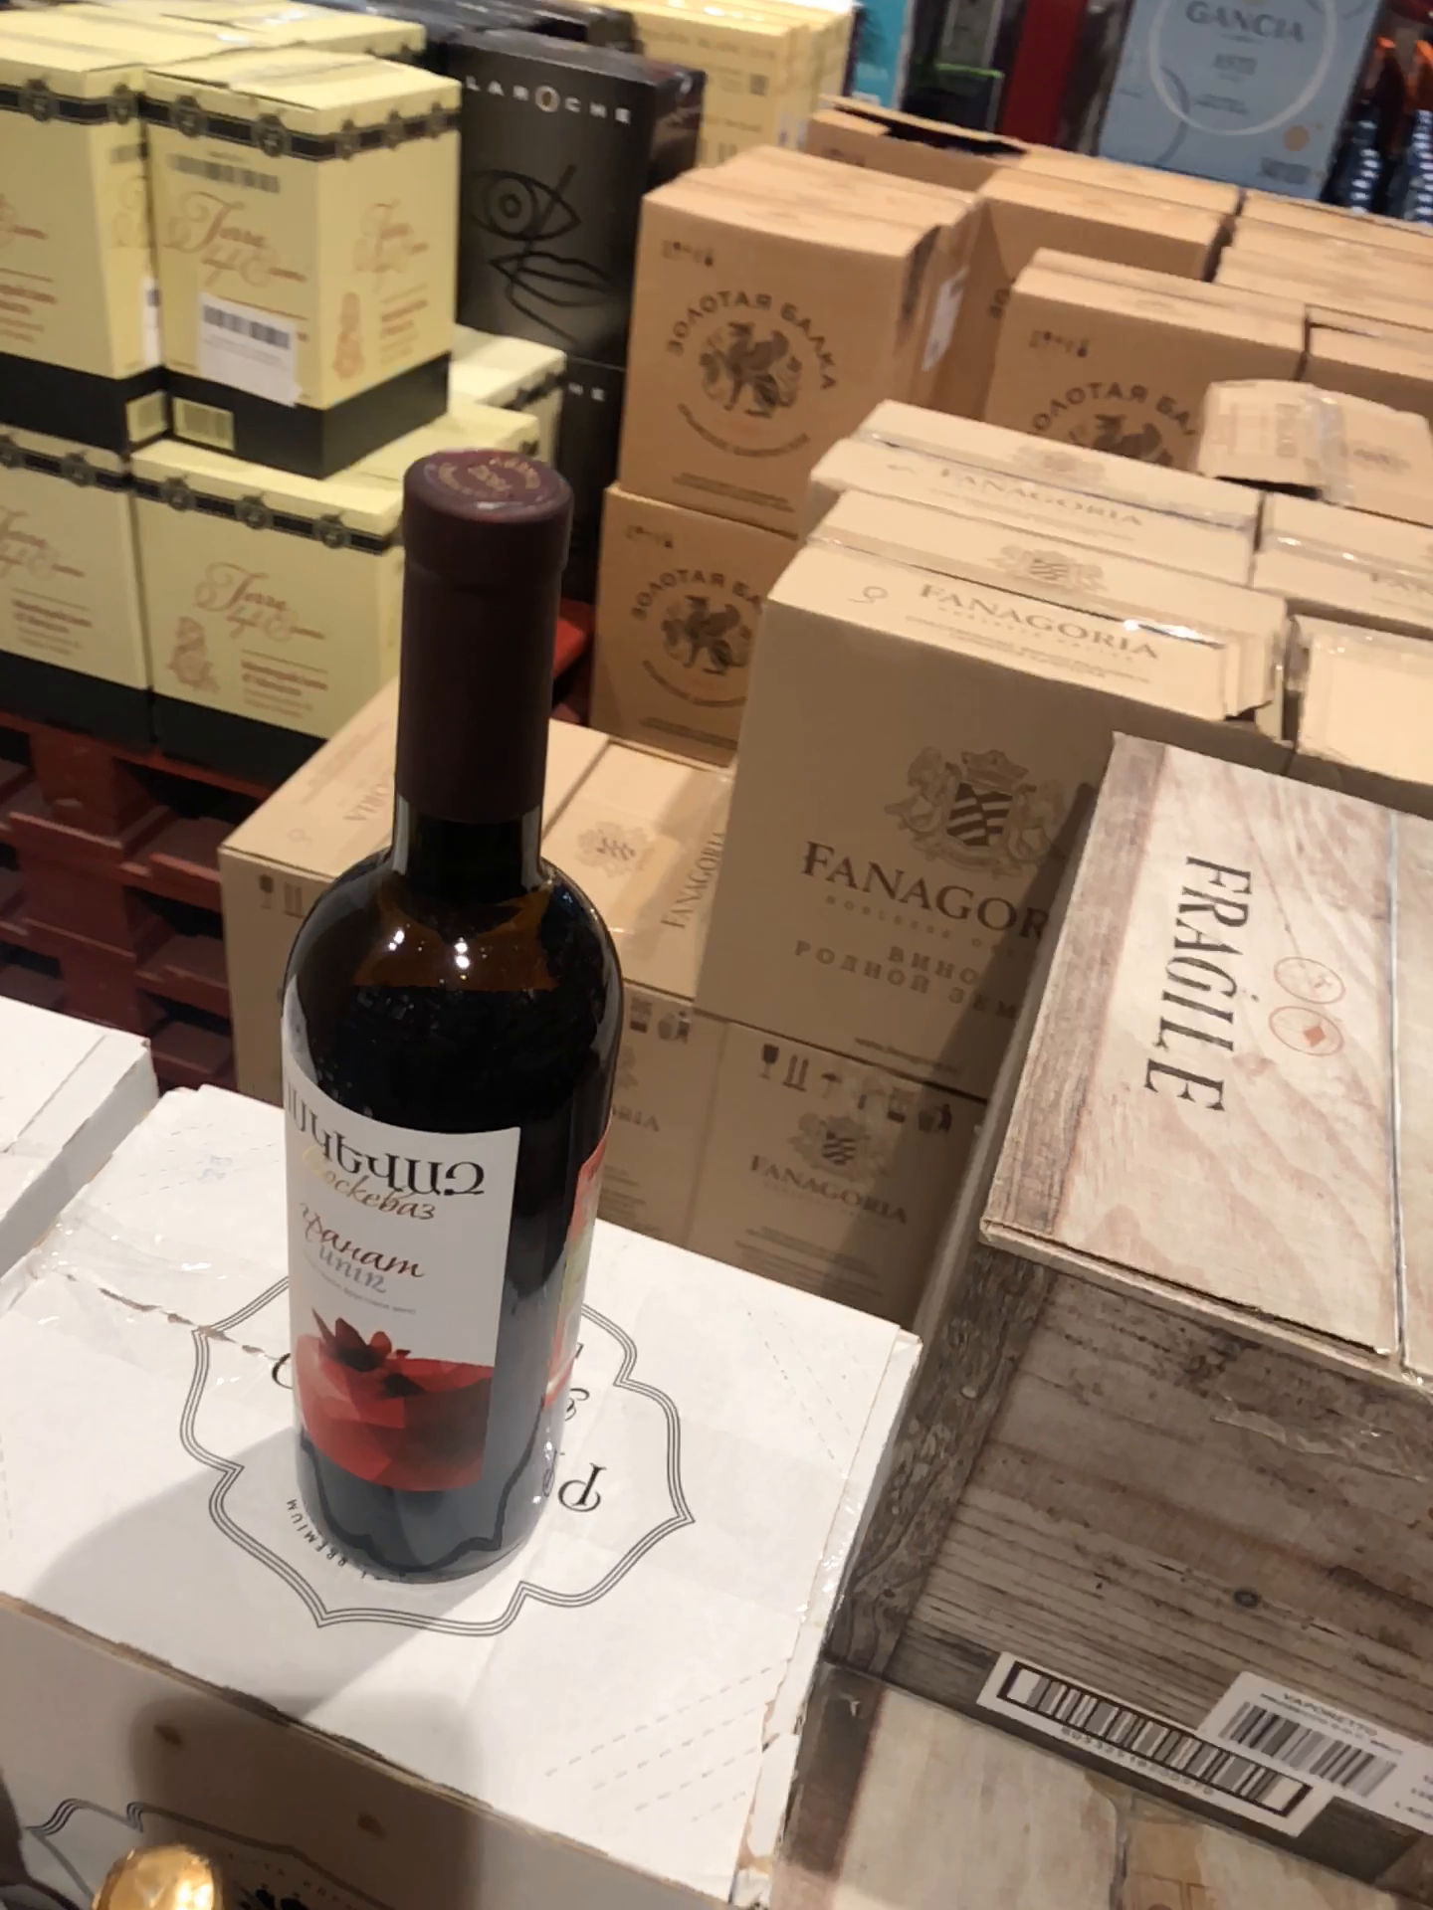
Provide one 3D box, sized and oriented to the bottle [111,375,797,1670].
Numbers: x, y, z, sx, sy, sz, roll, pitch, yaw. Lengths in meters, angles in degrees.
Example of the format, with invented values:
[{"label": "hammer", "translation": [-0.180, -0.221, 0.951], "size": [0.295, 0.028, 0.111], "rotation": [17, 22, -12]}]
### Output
[{"label": "bottle", "translation": [-0.062, 0.035, 0.369], "size": [0.090, 0.298, 0.081], "rotation": [23, 40, 18]}]
